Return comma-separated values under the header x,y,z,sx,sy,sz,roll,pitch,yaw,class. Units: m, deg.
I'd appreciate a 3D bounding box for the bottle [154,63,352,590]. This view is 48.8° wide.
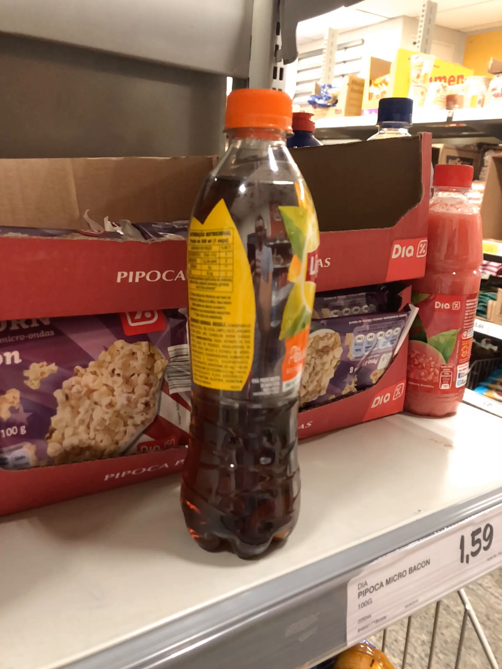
x,y,z,sx,sy,sz,roll,pitch,yaw,class
0.000,-0.001,0.262,0.070,0.219,0.070,3,16,-1,bottle
